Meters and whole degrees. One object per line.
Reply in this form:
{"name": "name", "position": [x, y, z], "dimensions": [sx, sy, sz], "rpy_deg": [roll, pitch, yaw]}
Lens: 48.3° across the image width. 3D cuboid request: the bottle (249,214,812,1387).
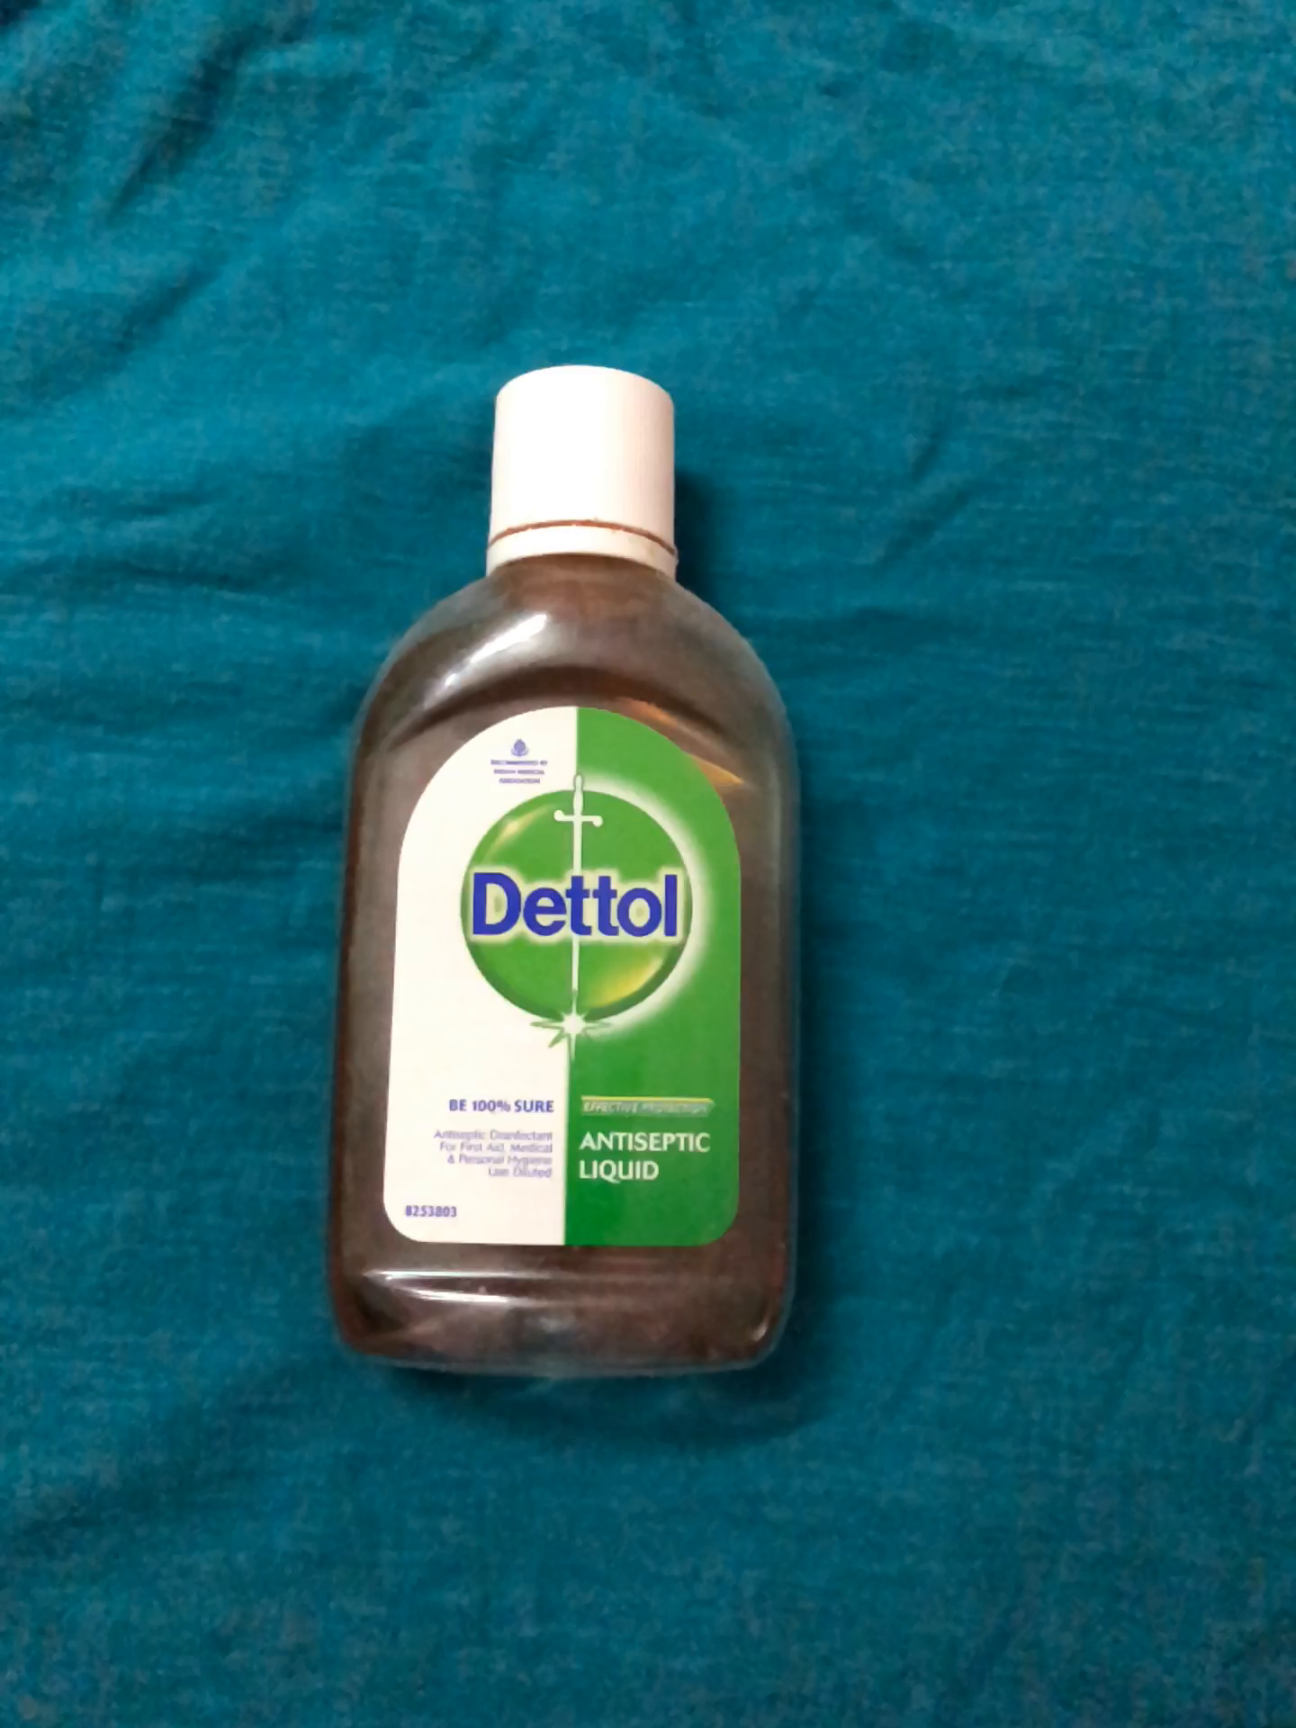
{"name": "bottle", "position": [-0.016, -0.011, 0.241], "dimensions": [0.080, 0.040, 0.180], "rpy_deg": [2, 81, -6]}
